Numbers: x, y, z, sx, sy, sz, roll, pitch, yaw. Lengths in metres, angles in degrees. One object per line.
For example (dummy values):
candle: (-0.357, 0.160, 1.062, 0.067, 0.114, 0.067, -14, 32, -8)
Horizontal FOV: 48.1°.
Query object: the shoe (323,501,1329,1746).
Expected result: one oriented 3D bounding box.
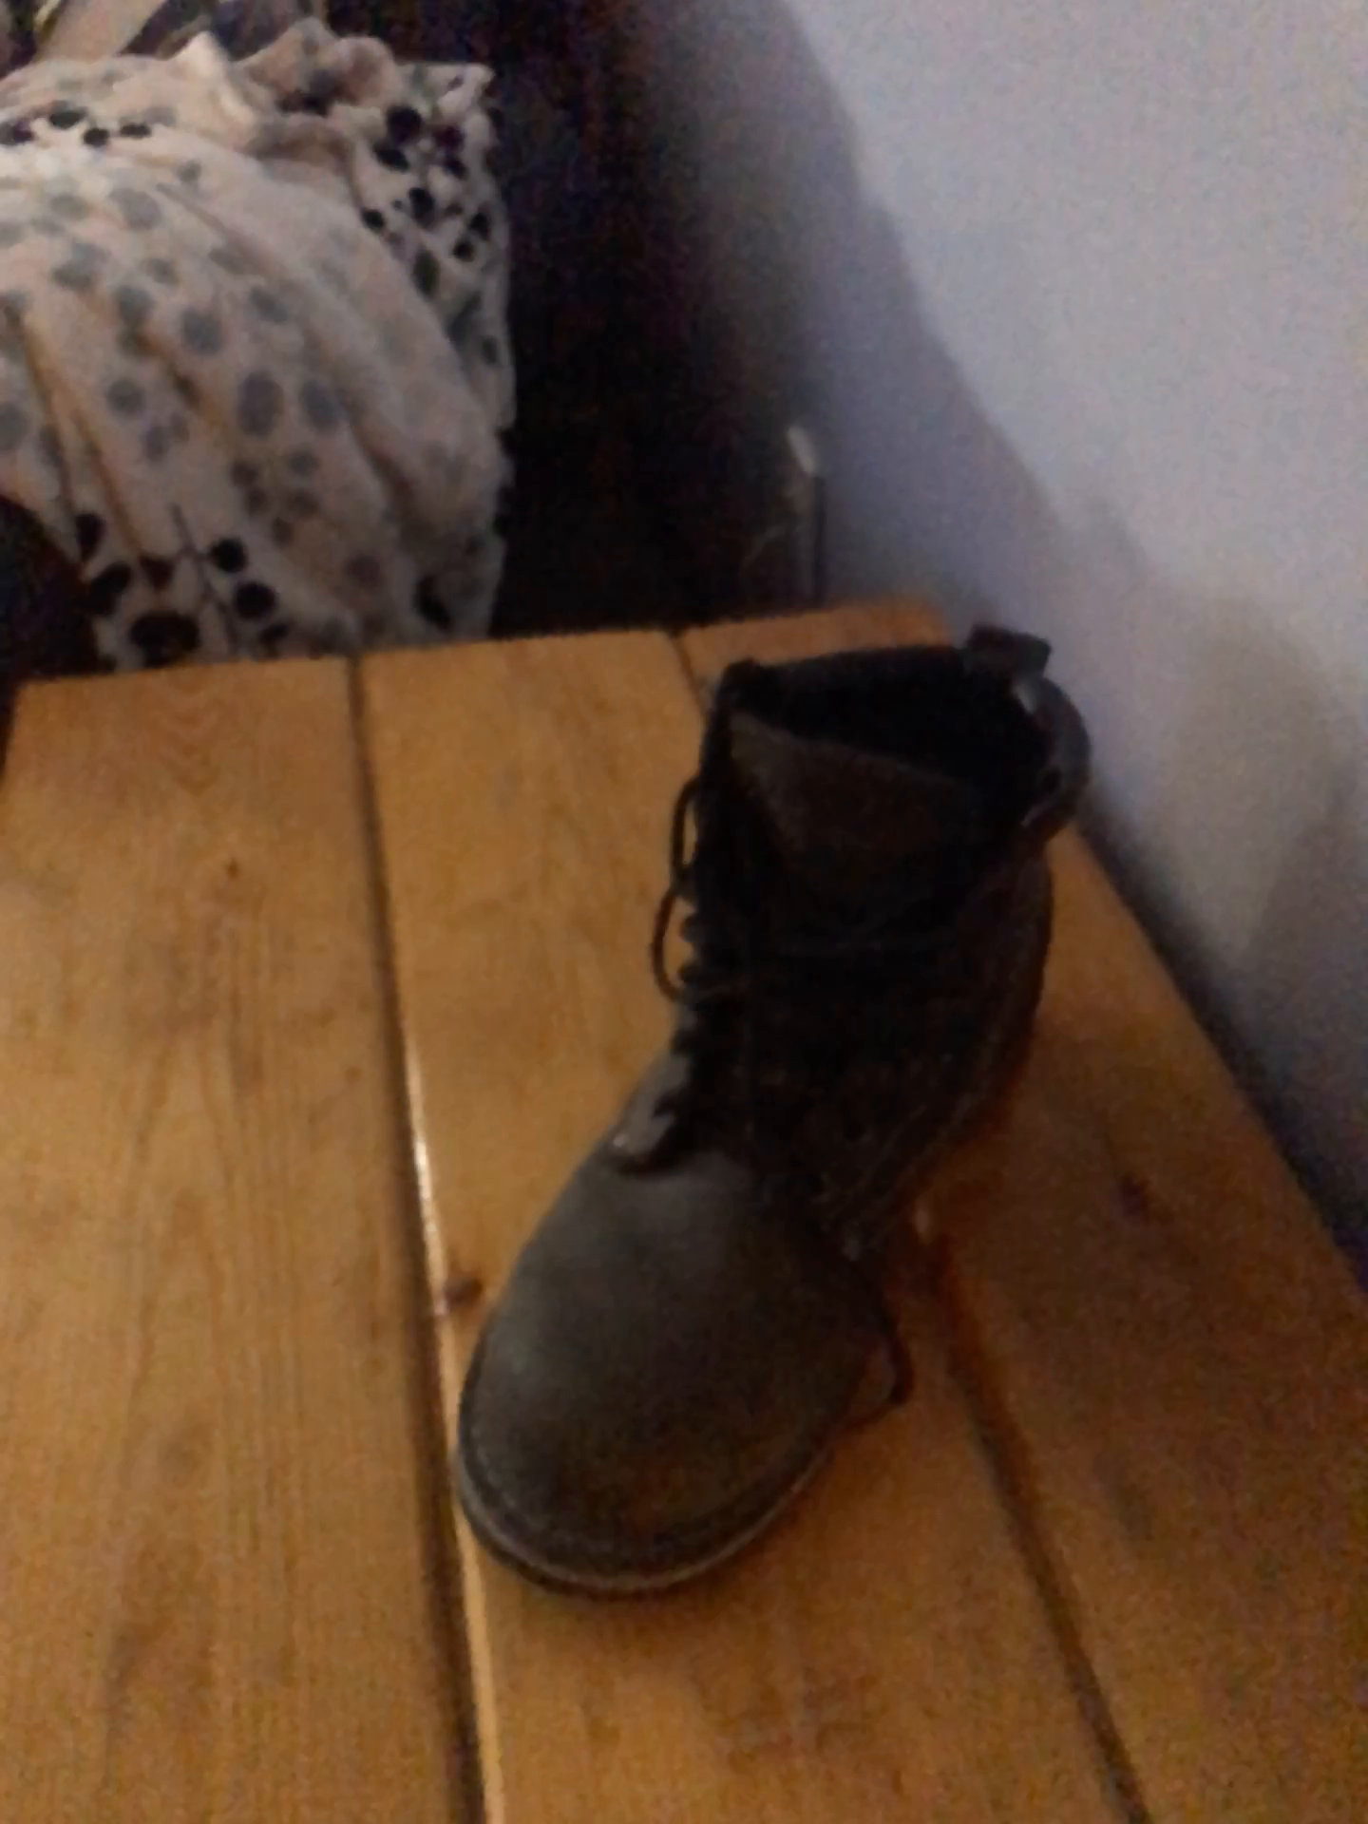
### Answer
shoe: (0.061, 0.039, 0.473, 0.130, 0.189, 0.321, 24, 46, 23)
